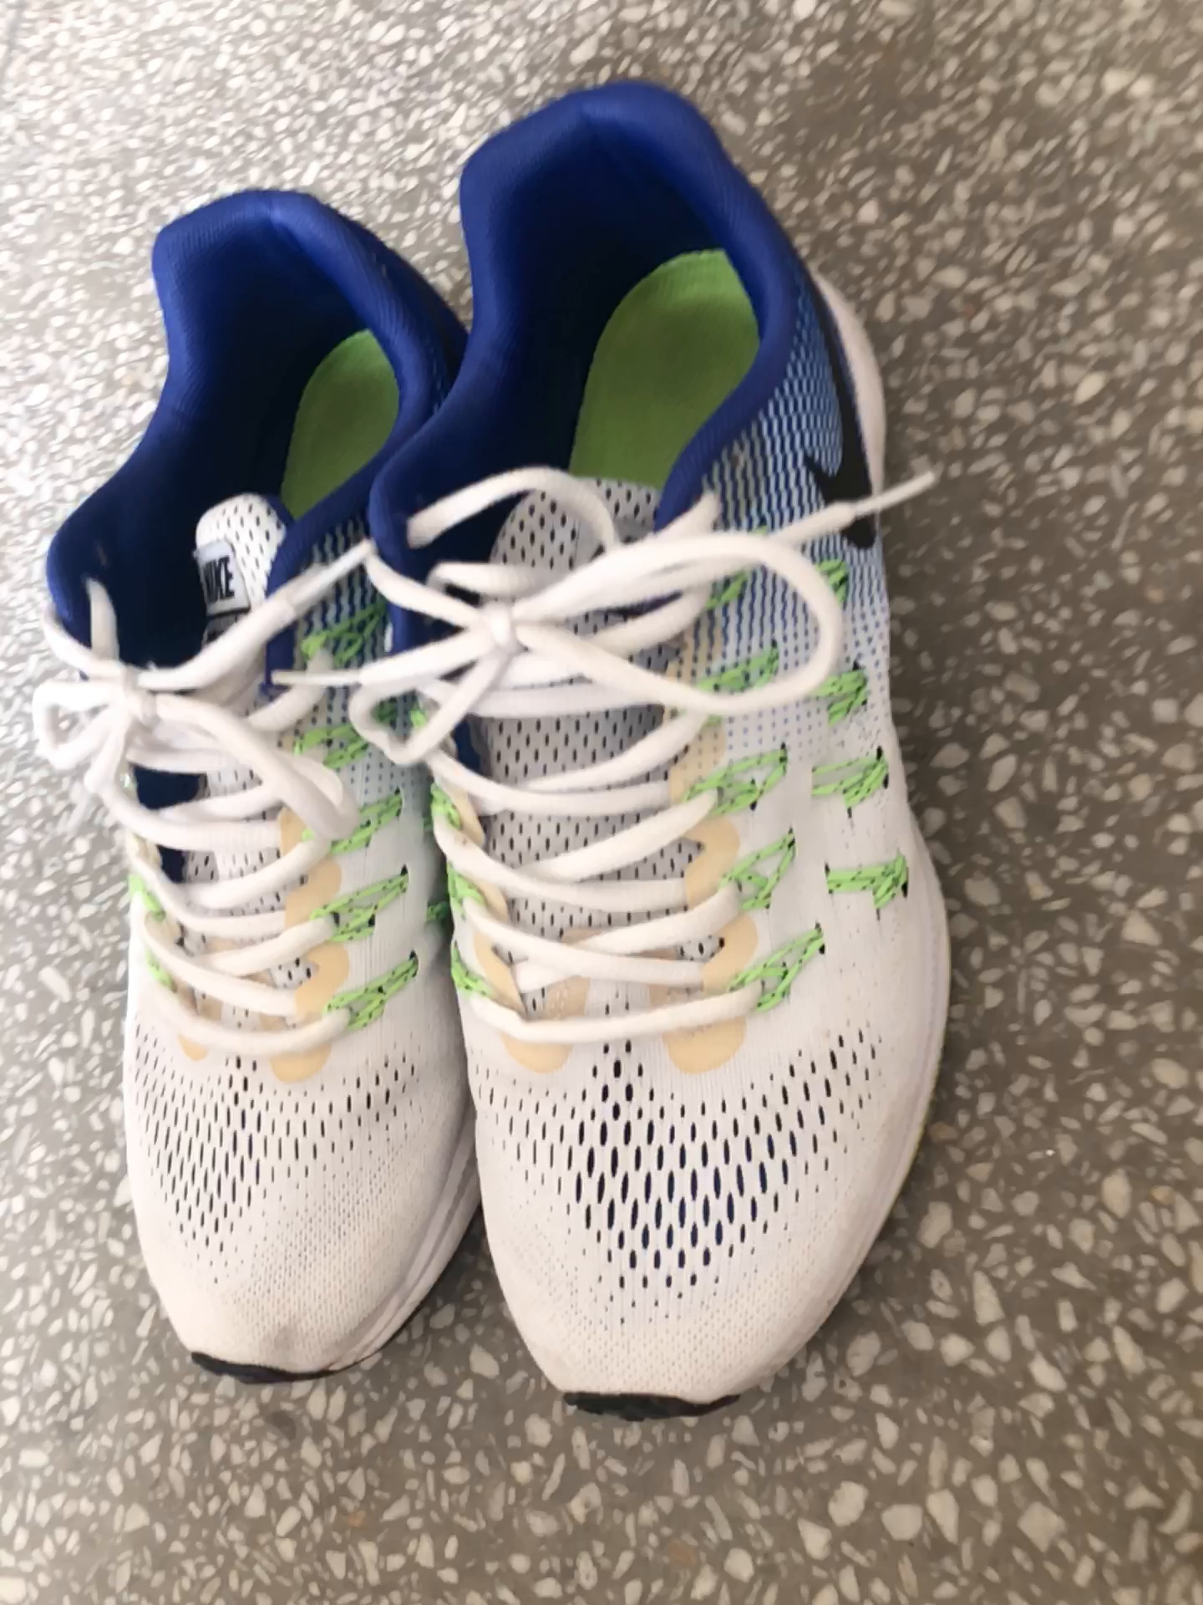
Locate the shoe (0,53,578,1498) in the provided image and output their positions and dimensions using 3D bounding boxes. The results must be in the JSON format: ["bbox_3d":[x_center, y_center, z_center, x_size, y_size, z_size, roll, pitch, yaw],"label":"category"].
[{"bbox_3d":[-0.090,-0.008,0.323,0.113,0.114,0.282,-2,75,22],"label":"shoe"}]

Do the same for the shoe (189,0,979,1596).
[{"bbox_3d":[0.013,-0.012,0.281,0.111,0.114,0.275,-3,74,22],"label":"shoe"}]
